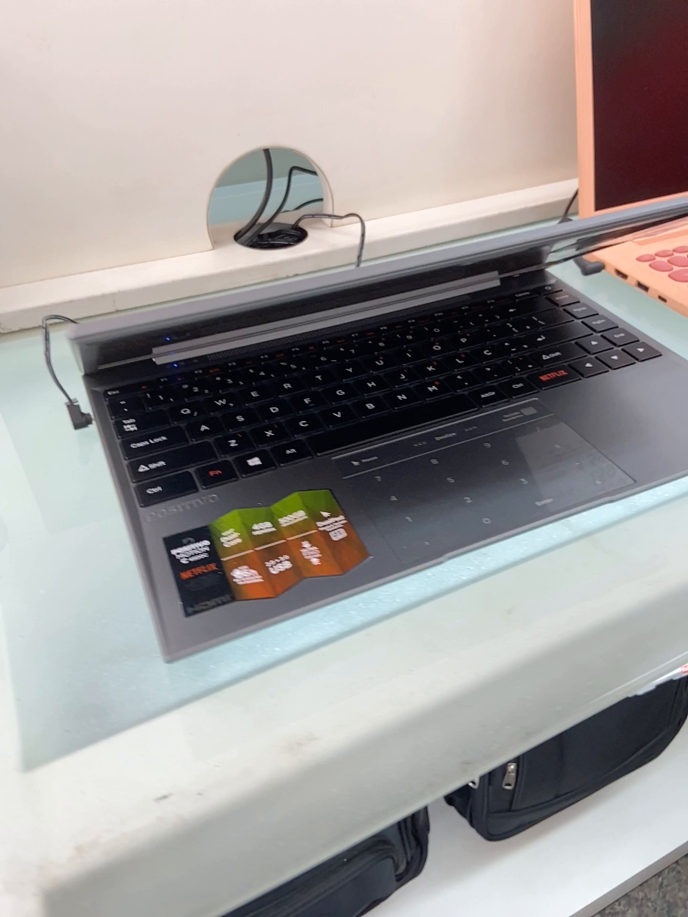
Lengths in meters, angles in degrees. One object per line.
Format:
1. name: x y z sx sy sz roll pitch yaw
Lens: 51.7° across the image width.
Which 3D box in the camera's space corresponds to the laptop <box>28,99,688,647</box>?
1. laptop: 0.042 -0.078 0.359 0.334 0.113 0.211 -16 42 -18
